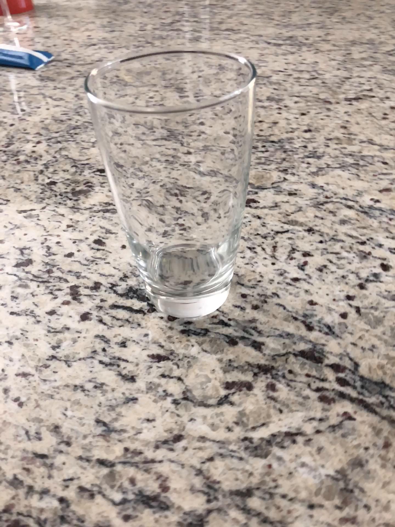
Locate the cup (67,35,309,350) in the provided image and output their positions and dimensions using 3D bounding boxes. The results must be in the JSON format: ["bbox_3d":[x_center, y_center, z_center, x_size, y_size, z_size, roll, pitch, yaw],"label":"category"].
[{"bbox_3d":[-0.005,-0.040,0.253,0.090,0.139,0.080,-19,43,-17],"label":"cup"}]
